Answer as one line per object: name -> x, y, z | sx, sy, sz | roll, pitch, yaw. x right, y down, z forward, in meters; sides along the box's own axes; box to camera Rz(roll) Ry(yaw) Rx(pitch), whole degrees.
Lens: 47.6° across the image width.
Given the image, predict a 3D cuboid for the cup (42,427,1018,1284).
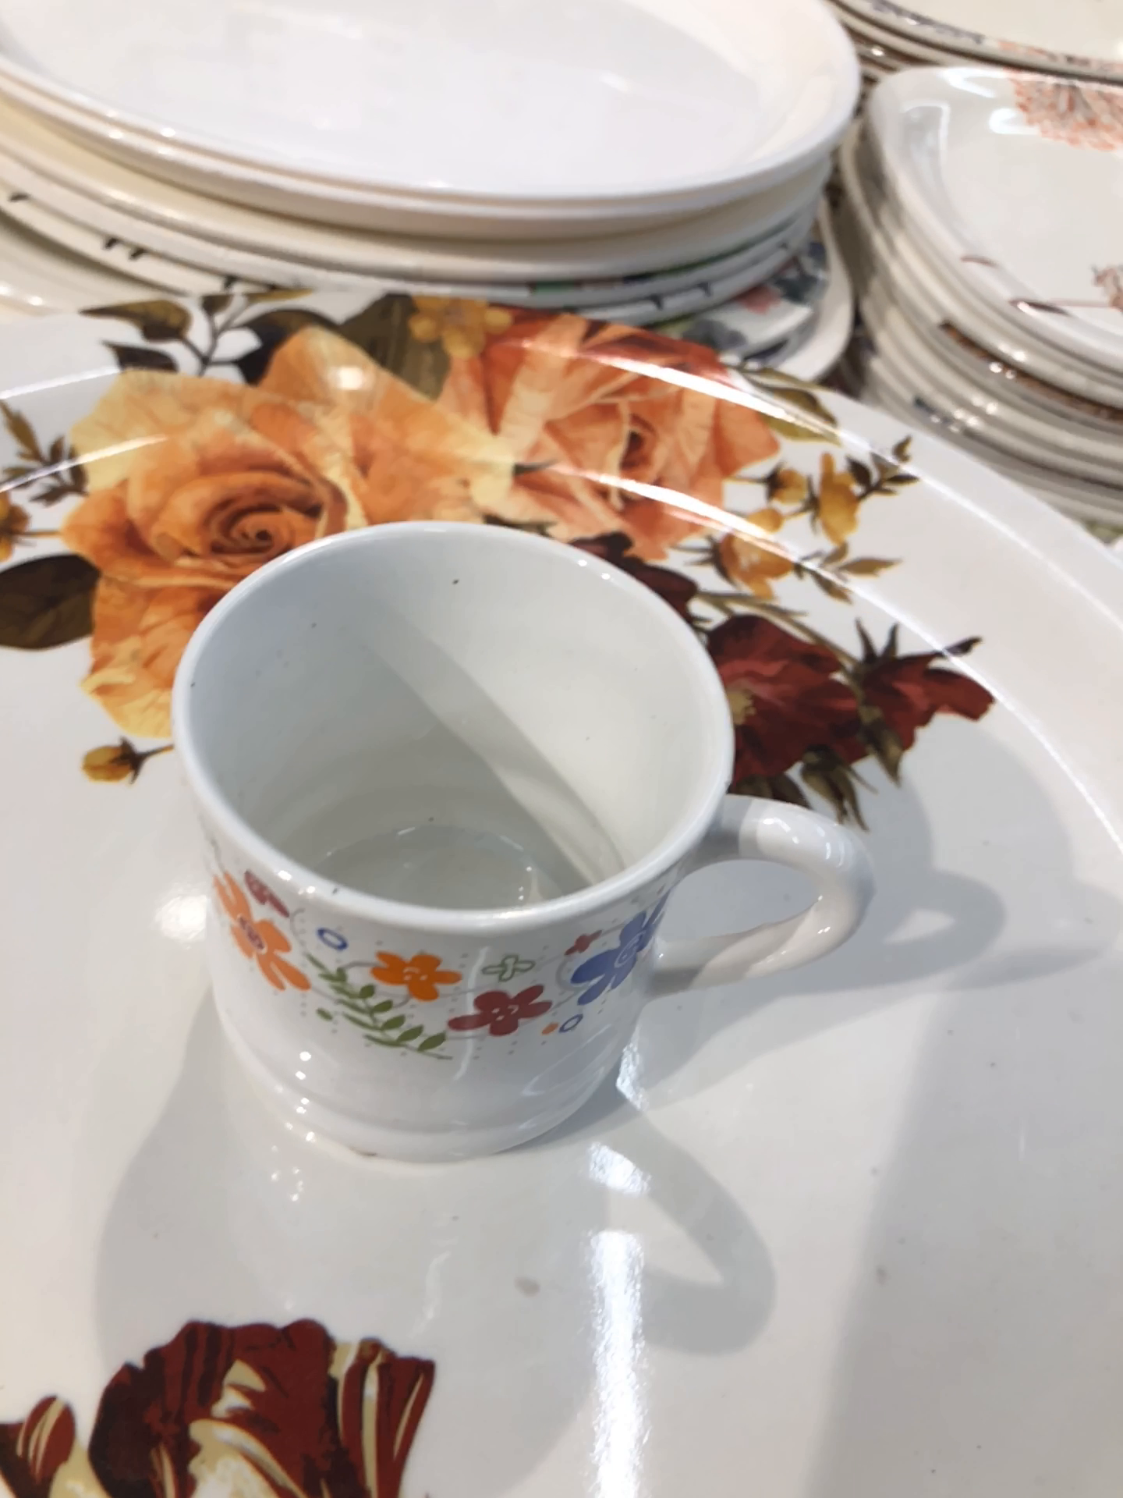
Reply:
cup -> -0.004, 0.018, 0.181 | 0.100, 0.079, 0.070 | 11, 48, -2
